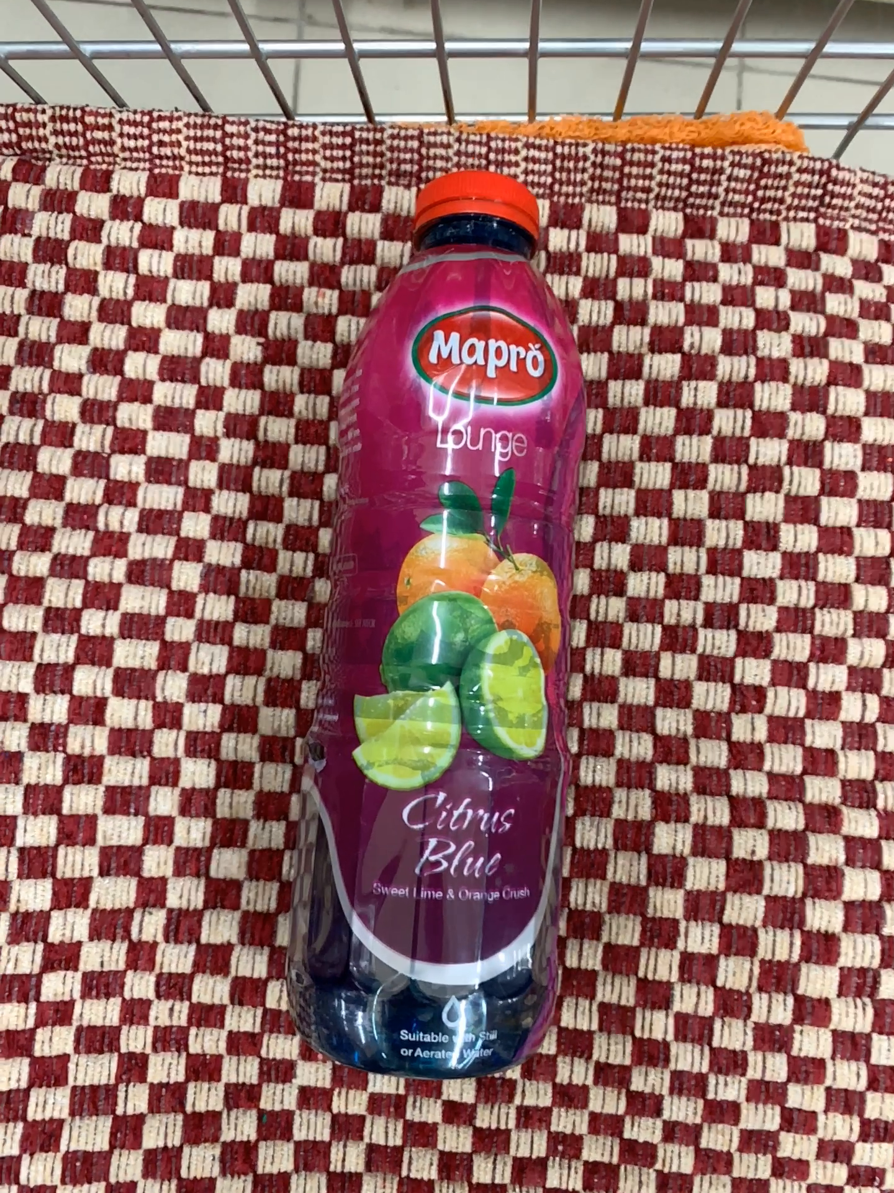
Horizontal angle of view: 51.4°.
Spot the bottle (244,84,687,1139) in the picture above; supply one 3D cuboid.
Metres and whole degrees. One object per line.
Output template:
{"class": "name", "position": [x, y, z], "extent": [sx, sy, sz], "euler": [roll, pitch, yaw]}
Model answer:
{"class": "bottle", "position": [0.000, 0.006, 0.262], "extent": [0.090, 0.070, 0.250], "euler": [5, 89, -11]}
